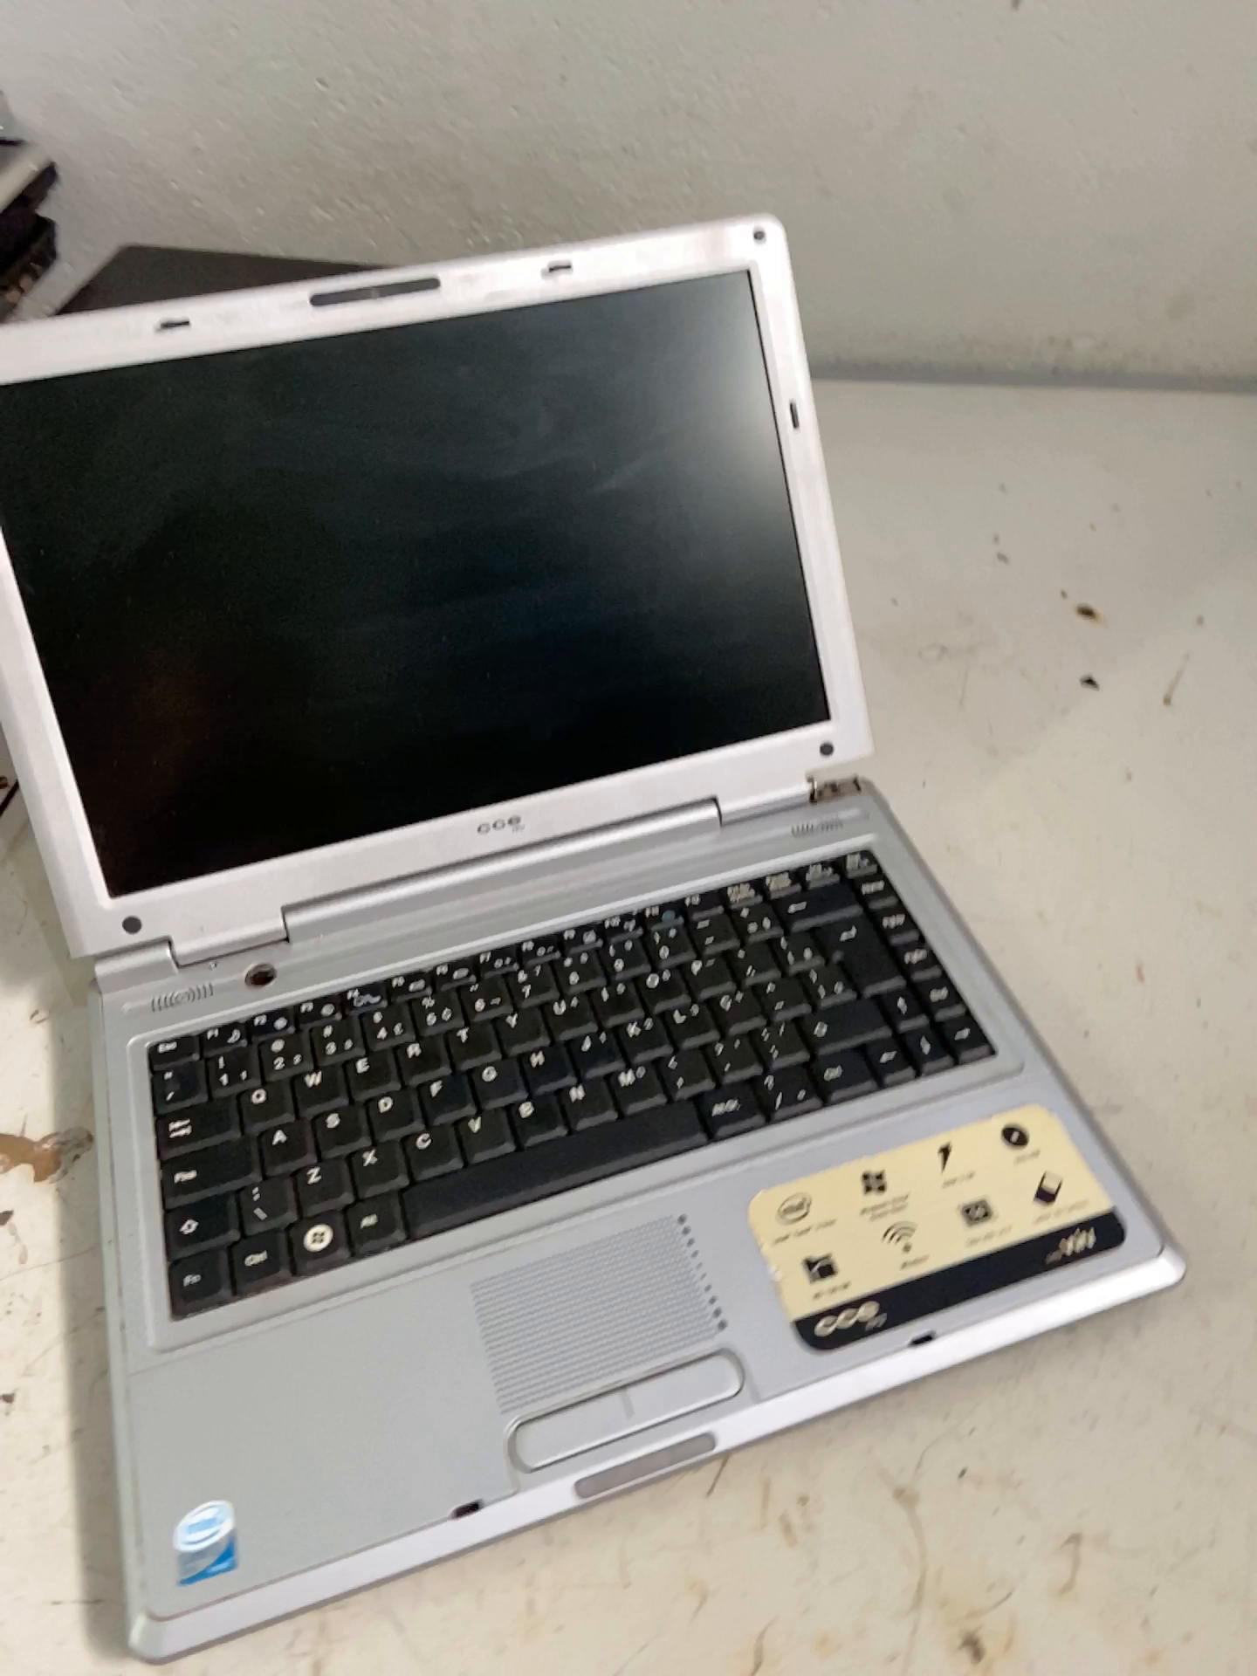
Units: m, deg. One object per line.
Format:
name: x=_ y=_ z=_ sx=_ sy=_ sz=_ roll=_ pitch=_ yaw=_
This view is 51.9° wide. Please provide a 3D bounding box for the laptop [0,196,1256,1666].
laptop: x=-0.041 y=-0.017 z=0.442 sx=0.338 sy=0.190 sz=0.388 roll=-15 pitch=50 yaw=-12
